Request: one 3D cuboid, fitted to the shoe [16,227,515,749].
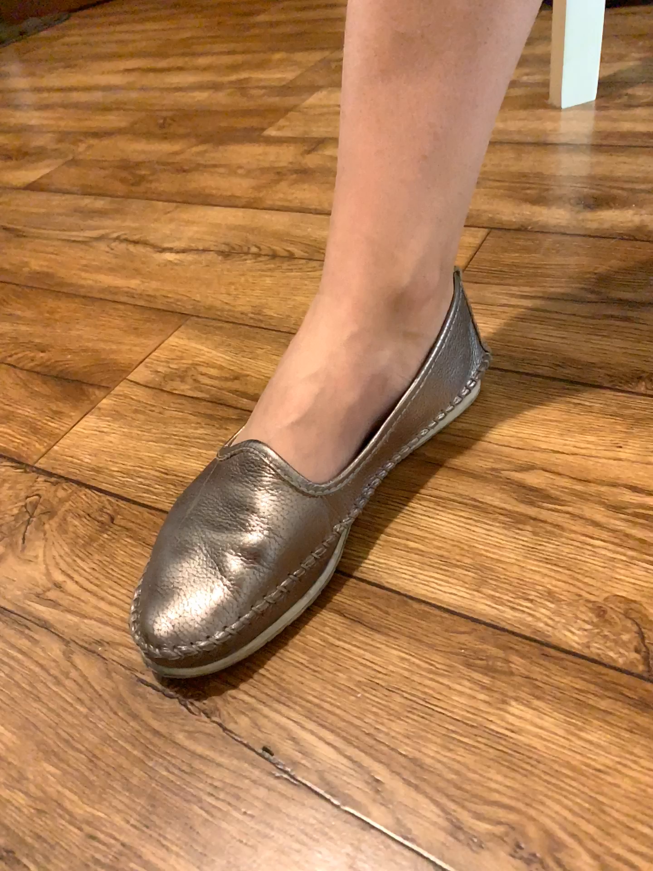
[{"bbox_3d":[-0.013,0.007,0.317,0.096,0.070,0.230,23,62,34],"label":"shoe"}]
